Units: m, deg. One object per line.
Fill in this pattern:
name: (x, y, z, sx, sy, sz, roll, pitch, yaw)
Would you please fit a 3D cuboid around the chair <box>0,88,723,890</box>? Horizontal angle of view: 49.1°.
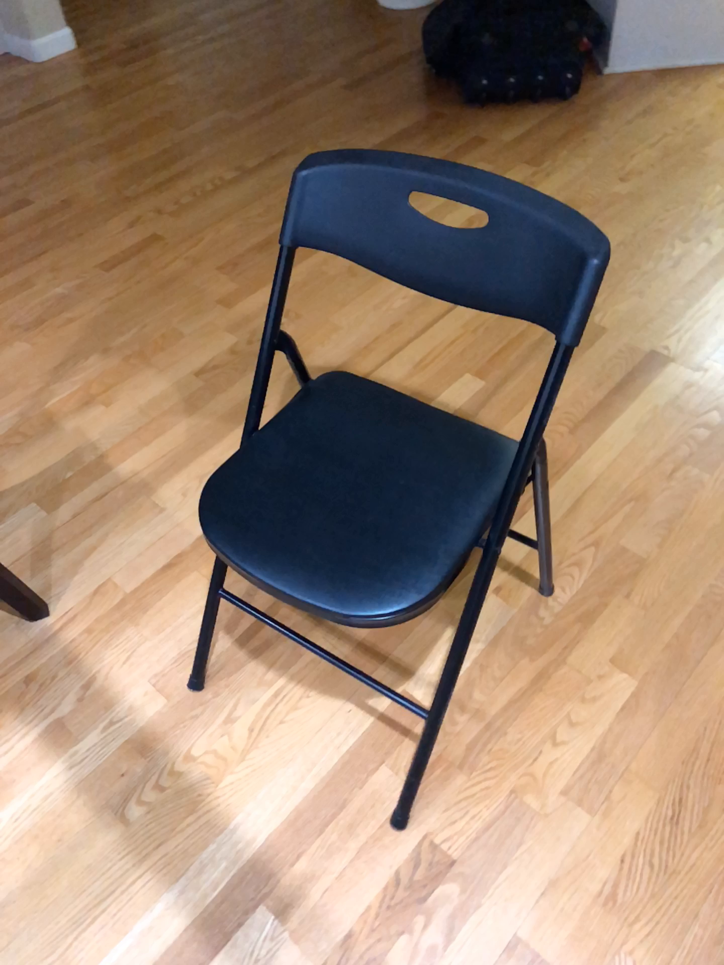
chair: (0.012, -0.020, 1.098, 0.611, 0.657, 0.682, 25, 55, 24)
